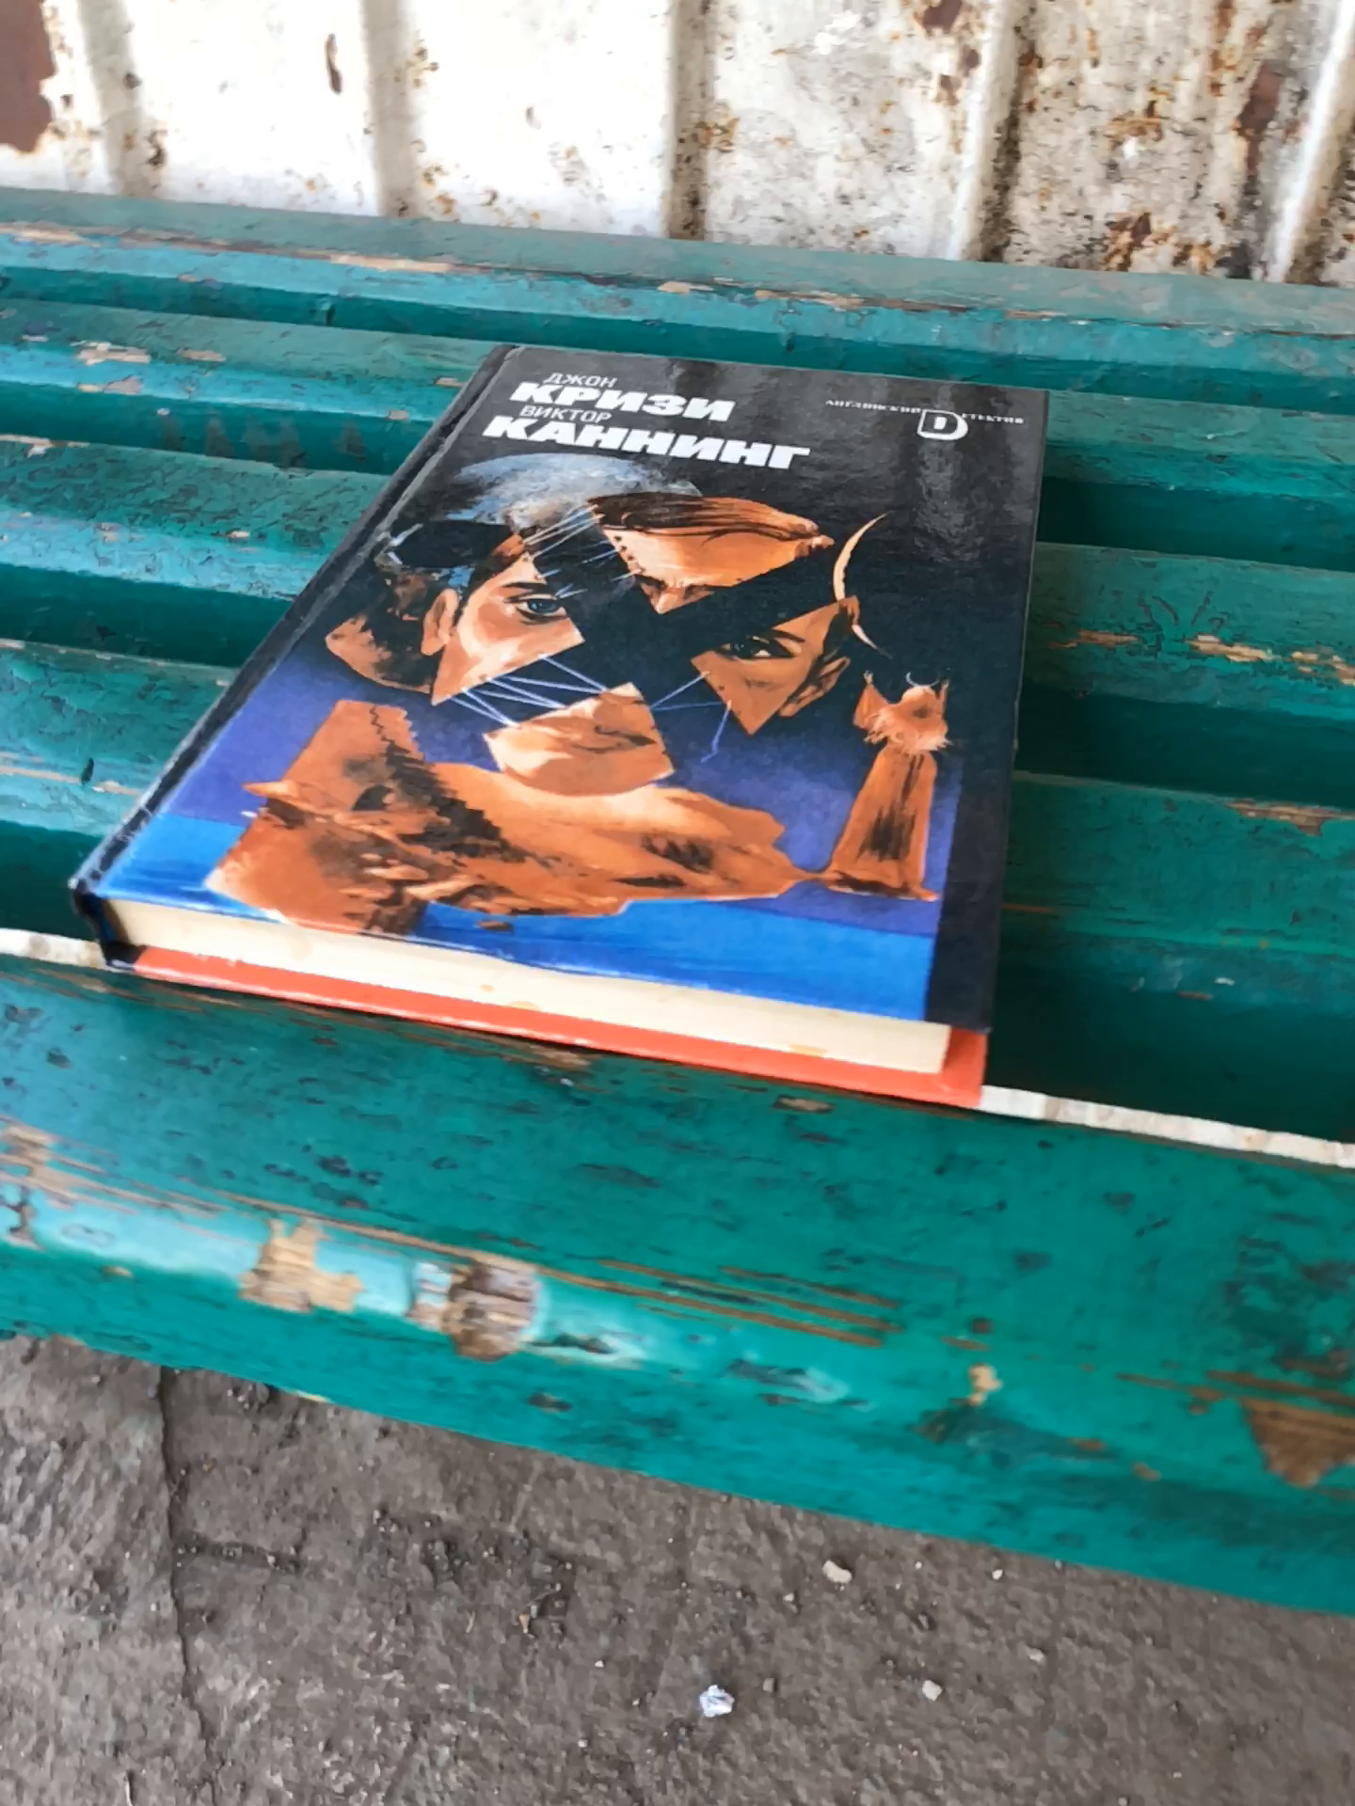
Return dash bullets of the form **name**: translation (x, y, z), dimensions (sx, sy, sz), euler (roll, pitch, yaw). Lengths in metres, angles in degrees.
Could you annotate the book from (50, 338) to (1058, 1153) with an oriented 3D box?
- **book**: translation (-0.001, -0.052, 0.288), dimensions (0.134, 0.020, 0.212), euler (9, 43, 9)
